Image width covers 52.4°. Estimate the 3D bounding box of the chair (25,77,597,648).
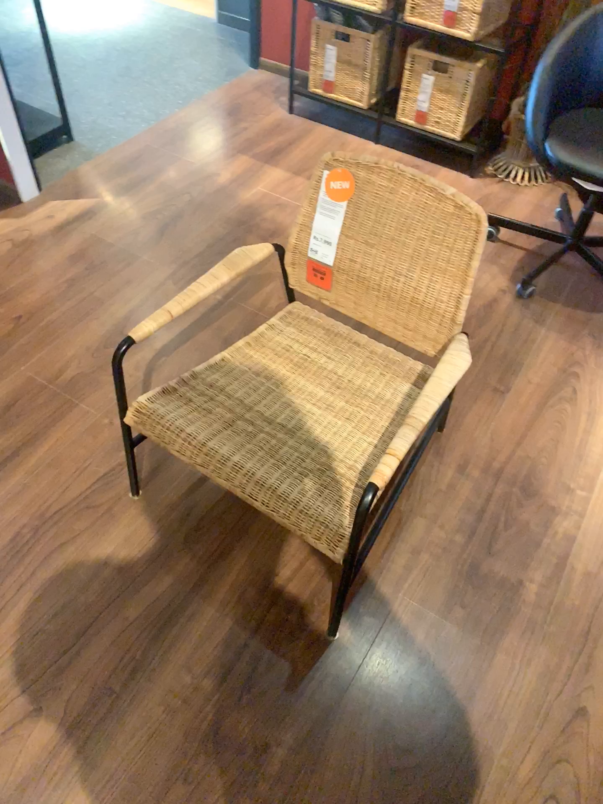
[{"bbox_3d":[0.044,-0.114,1.389,0.711,0.758,0.792,29,54,20],"label":"chair"}]
